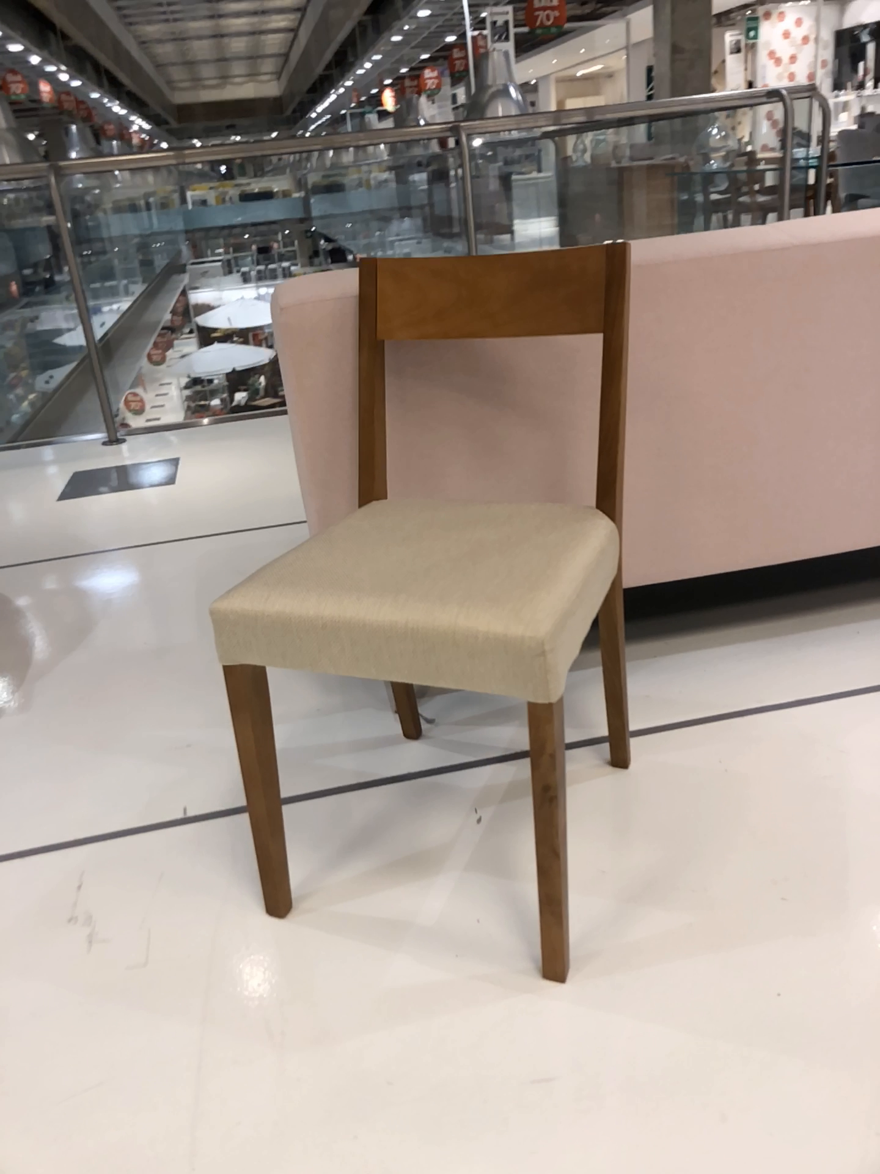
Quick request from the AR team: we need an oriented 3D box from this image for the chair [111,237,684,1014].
[{"bbox_3d":[0.029,-0.008,1.329,0.490,0.814,0.594,5,25,25],"label":"chair"}]
